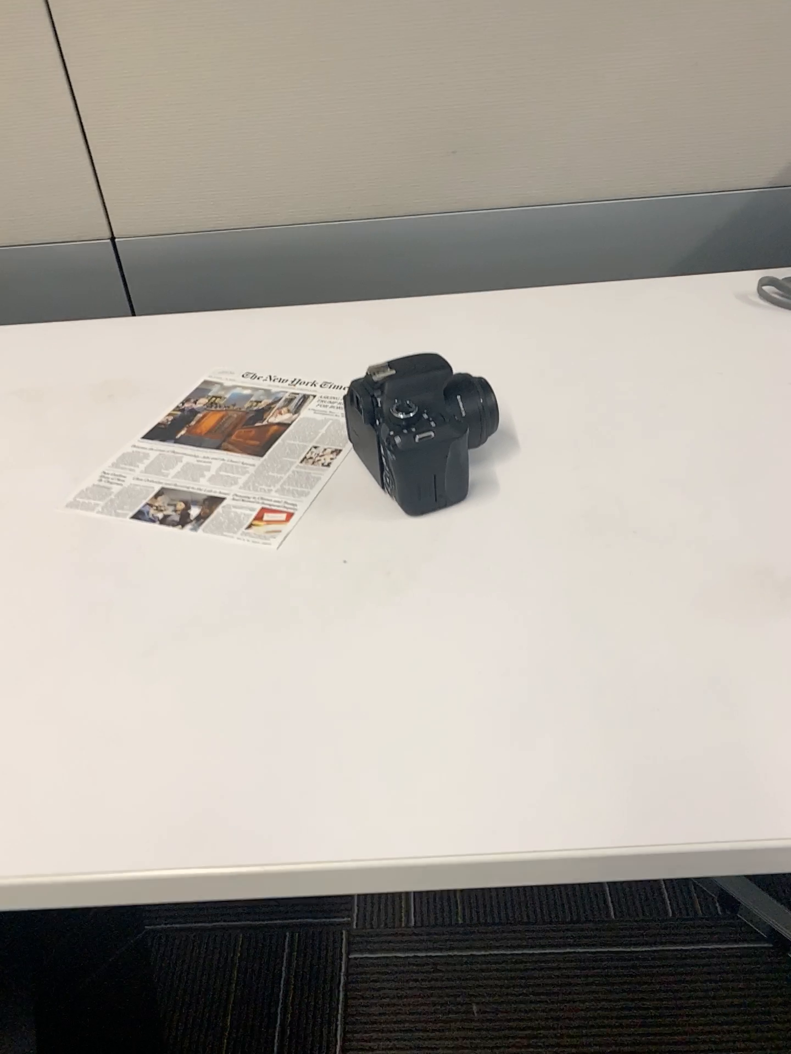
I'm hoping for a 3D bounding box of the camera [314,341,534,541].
[{"bbox_3d":[0.022,-0.083,0.719,0.136,0.084,0.152,-19,39,-17],"label":"camera"}]
